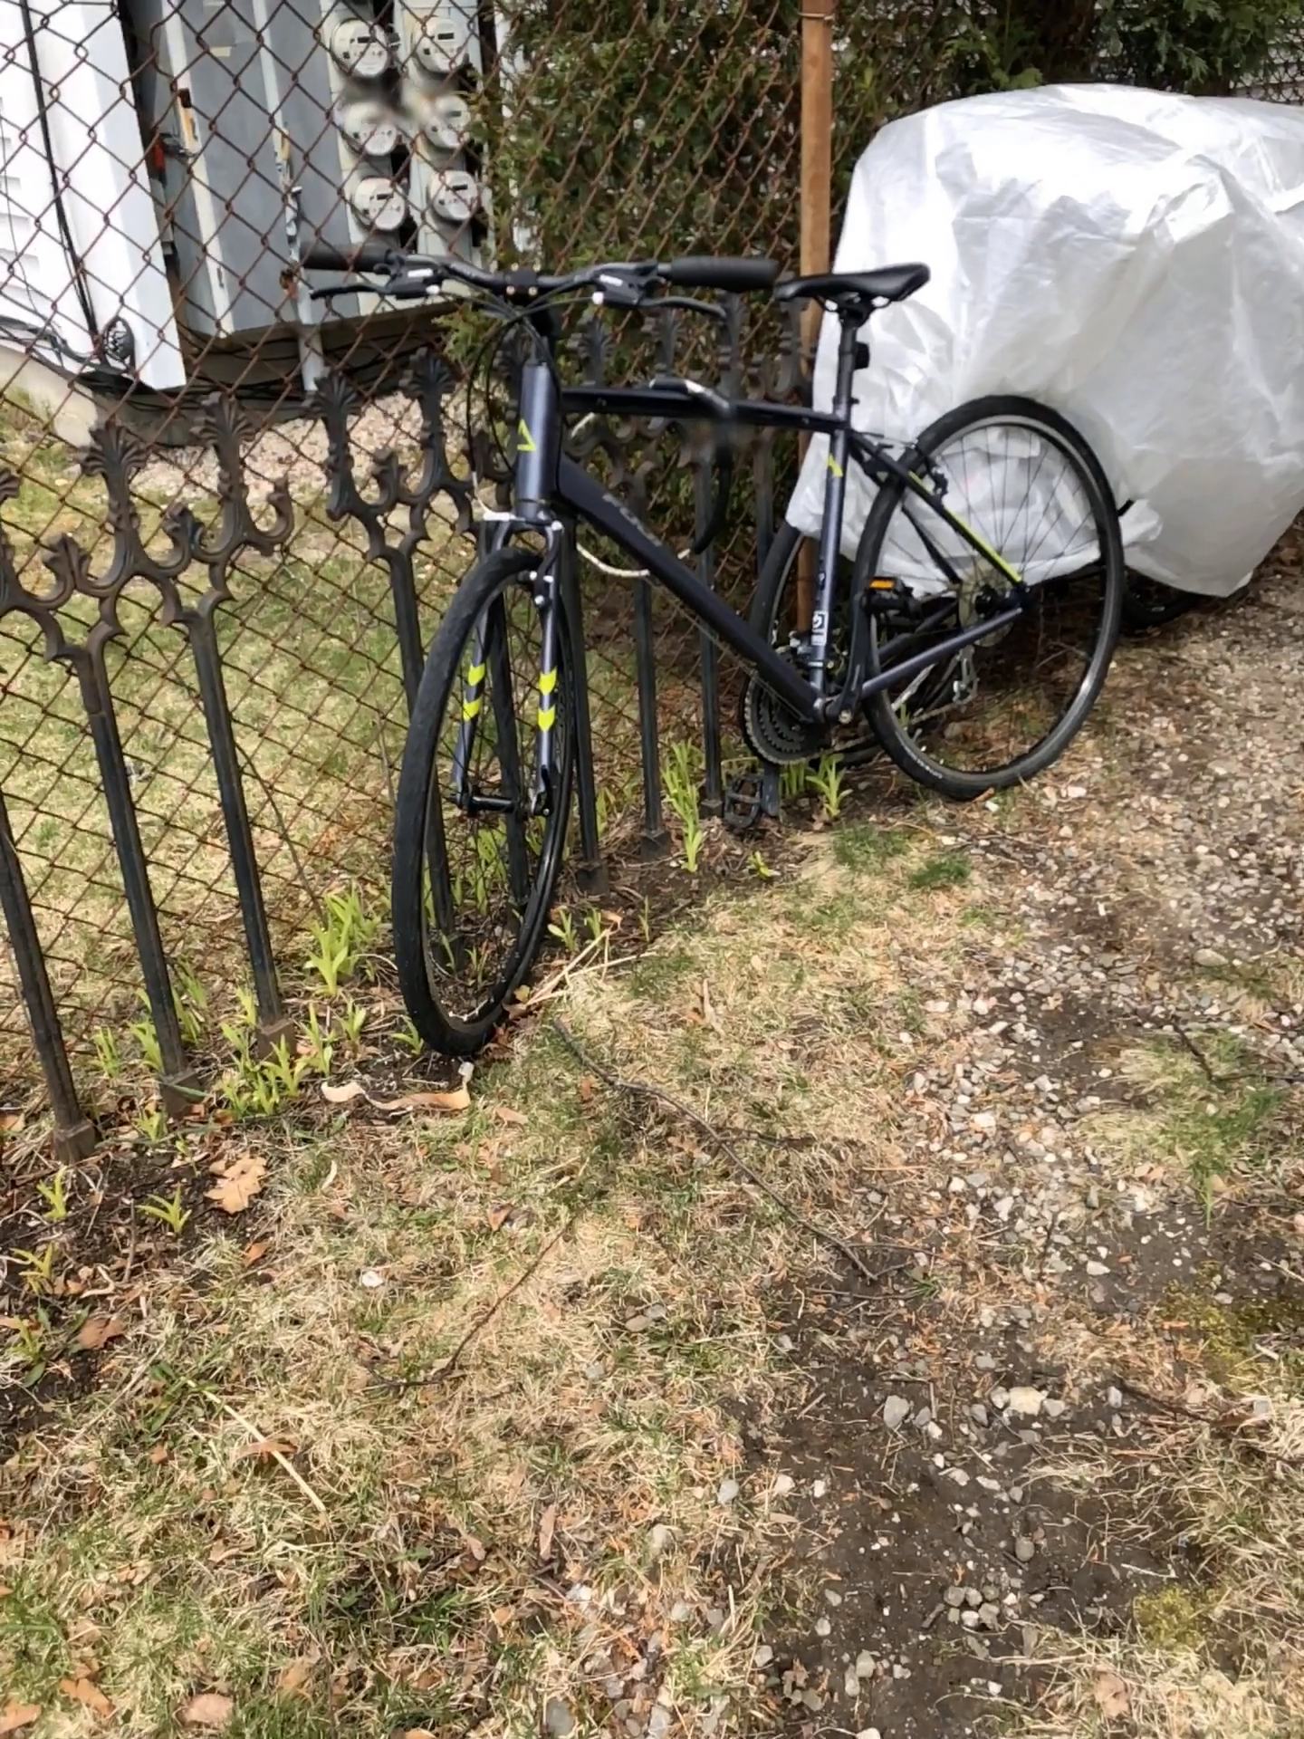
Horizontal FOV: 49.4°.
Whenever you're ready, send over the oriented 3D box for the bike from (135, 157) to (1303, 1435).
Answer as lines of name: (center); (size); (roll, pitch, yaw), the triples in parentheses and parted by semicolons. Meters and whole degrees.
bike: (0.357, -0.420, 2.385); (0.678, 1.347, 2.203); (21, 34, 33)
